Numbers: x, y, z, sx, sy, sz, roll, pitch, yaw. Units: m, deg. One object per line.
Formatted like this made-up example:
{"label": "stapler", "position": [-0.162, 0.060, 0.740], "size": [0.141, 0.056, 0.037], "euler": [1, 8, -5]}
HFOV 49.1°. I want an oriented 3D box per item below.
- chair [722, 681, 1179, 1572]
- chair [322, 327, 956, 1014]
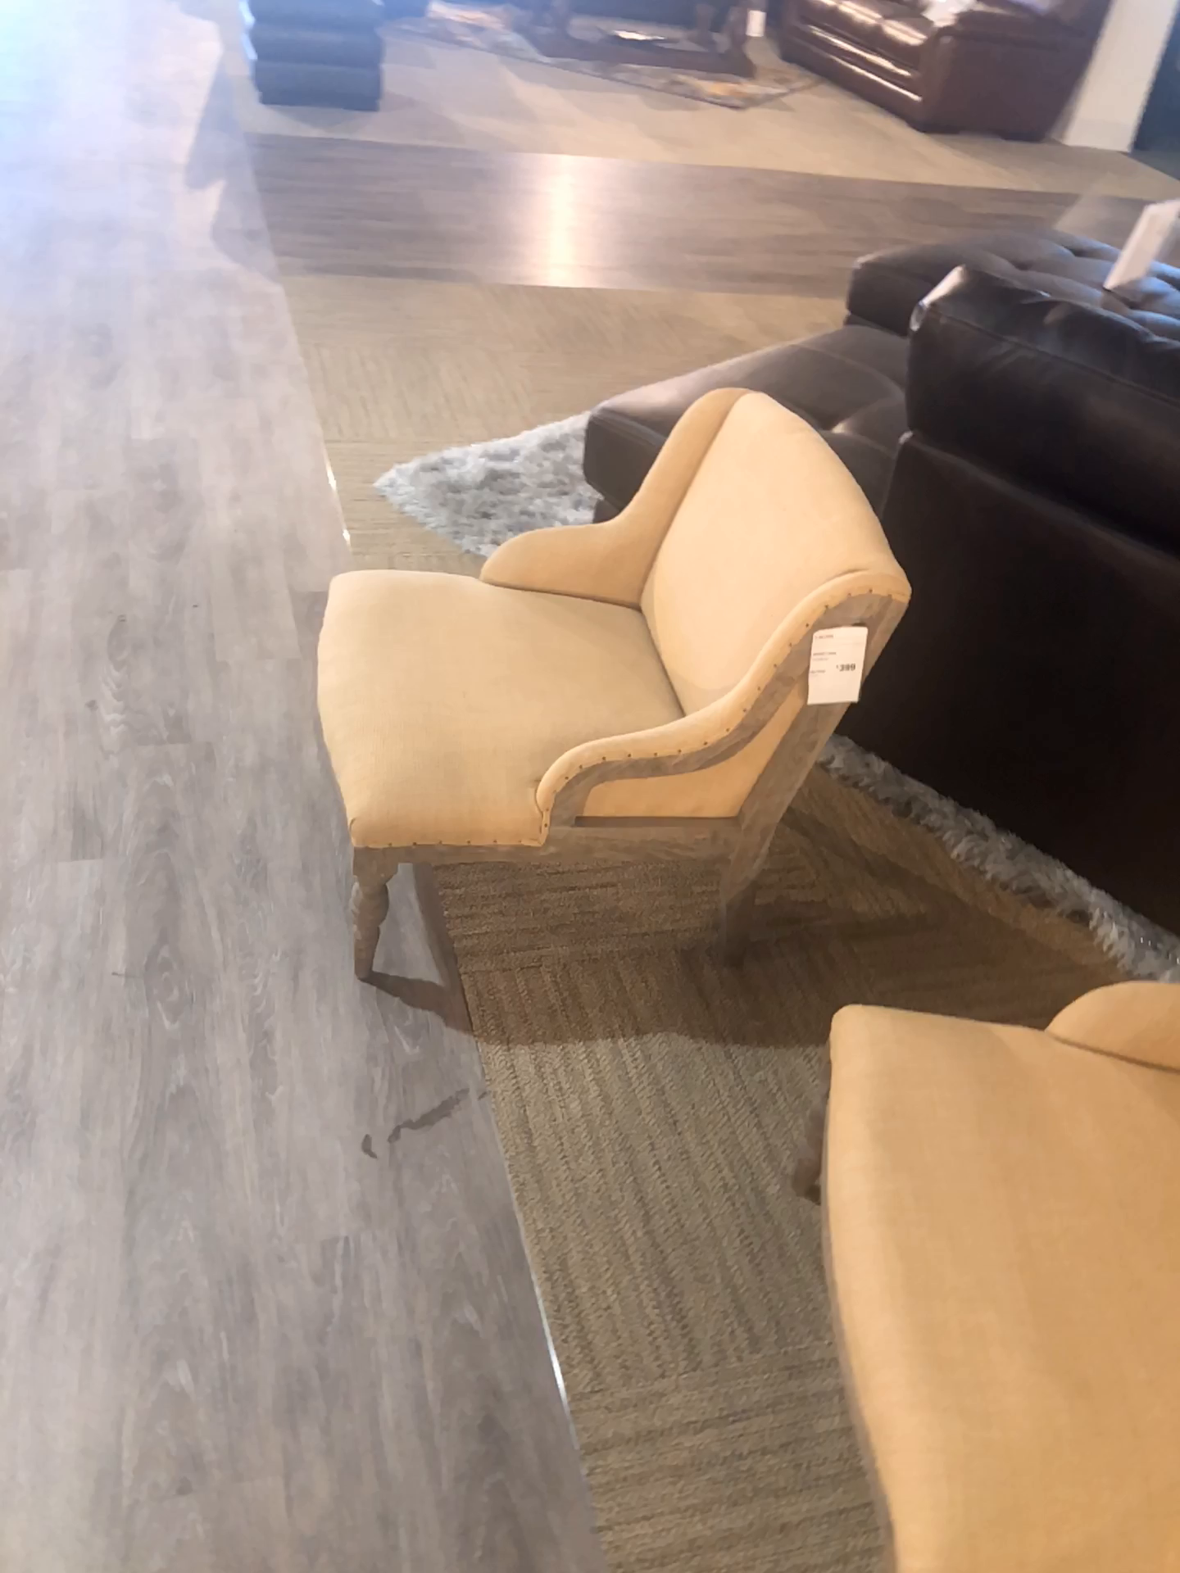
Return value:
{"label": "chair", "position": [0.552, 0.379, 1.180], "size": [0.718, 0.625, 0.630], "euler": [7, 38, -3]}
{"label": "chair", "position": [-0.020, -0.177, 1.828], "size": [0.669, 0.685, 0.640], "euler": [-2, 39, -14]}
